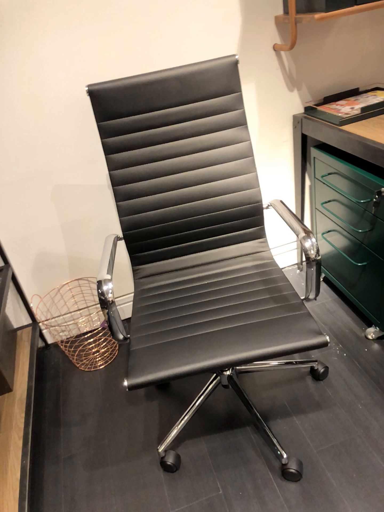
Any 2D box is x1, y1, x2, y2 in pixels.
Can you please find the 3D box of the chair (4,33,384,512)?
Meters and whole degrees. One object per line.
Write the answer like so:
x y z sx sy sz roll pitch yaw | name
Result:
0.097 0.037 1.203 0.680 1.052 0.665 -13 31 -1 | chair
